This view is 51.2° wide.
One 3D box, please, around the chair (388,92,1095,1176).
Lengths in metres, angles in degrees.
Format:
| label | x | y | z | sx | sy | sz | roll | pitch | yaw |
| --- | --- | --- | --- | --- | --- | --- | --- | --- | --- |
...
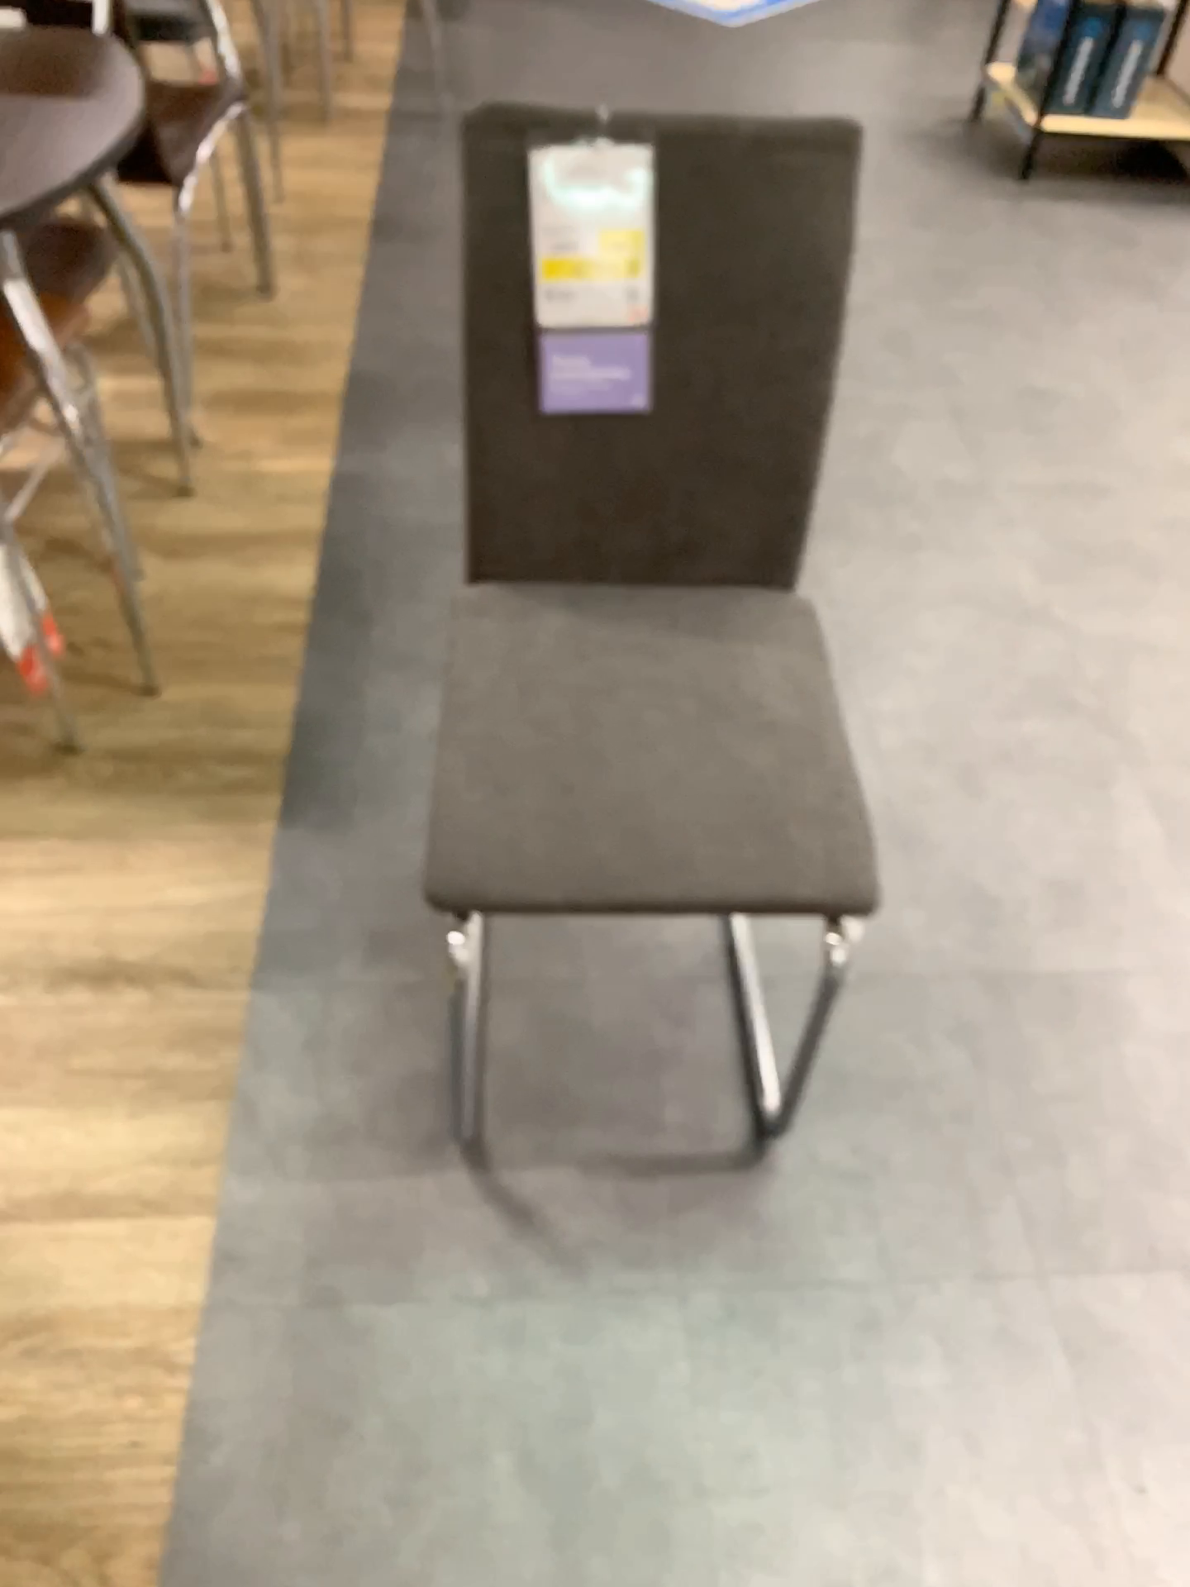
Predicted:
| label | x | y | z | sx | sy | sz | roll | pitch | yaw |
| --- | --- | --- | --- | --- | --- | --- | --- | --- | --- |
| chair | 0.049 | -0.093 | 1.289 | 0.435 | 0.975 | 0.542 | 0 | 45 | -5 |
